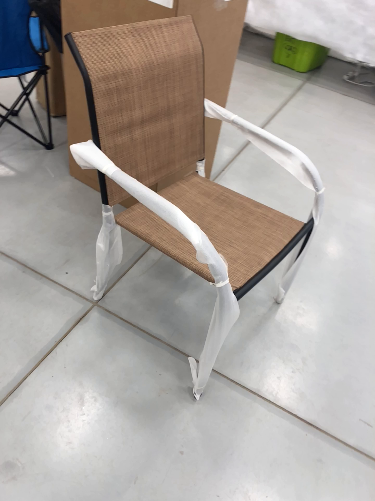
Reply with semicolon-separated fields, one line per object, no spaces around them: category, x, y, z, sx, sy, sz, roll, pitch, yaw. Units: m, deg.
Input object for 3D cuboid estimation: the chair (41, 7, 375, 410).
chair;0.047;-0.139;1.274;0.630;0.876;0.622;34;46;22
